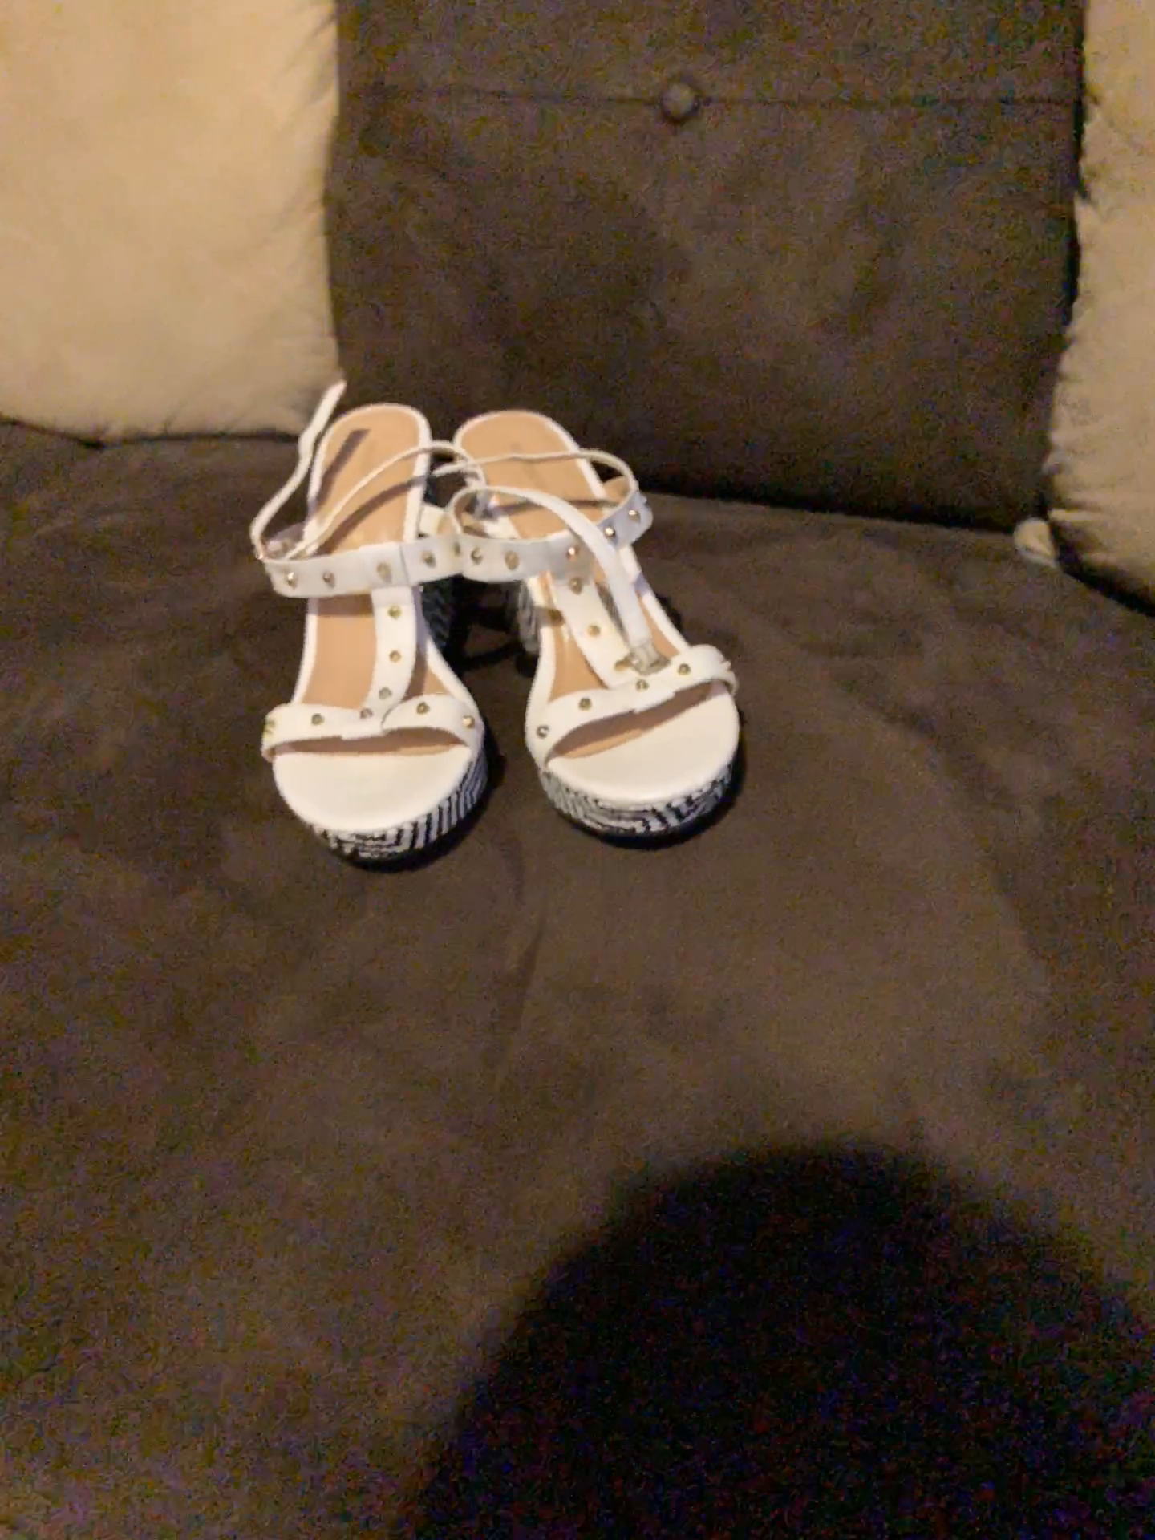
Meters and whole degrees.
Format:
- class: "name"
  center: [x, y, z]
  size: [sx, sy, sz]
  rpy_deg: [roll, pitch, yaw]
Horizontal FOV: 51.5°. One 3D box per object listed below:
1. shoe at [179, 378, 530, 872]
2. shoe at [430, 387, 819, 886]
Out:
- class: "shoe"
  center: [-0.086, -0.082, 0.564]
  size: [0.110, 0.099, 0.261]
  rpy_deg: [2, 41, 1]
- class: "shoe"
  center: [0.007, -0.077, 0.554]
  size: [0.100, 0.099, 0.251]
  rpy_deg: [-10, 40, -12]
